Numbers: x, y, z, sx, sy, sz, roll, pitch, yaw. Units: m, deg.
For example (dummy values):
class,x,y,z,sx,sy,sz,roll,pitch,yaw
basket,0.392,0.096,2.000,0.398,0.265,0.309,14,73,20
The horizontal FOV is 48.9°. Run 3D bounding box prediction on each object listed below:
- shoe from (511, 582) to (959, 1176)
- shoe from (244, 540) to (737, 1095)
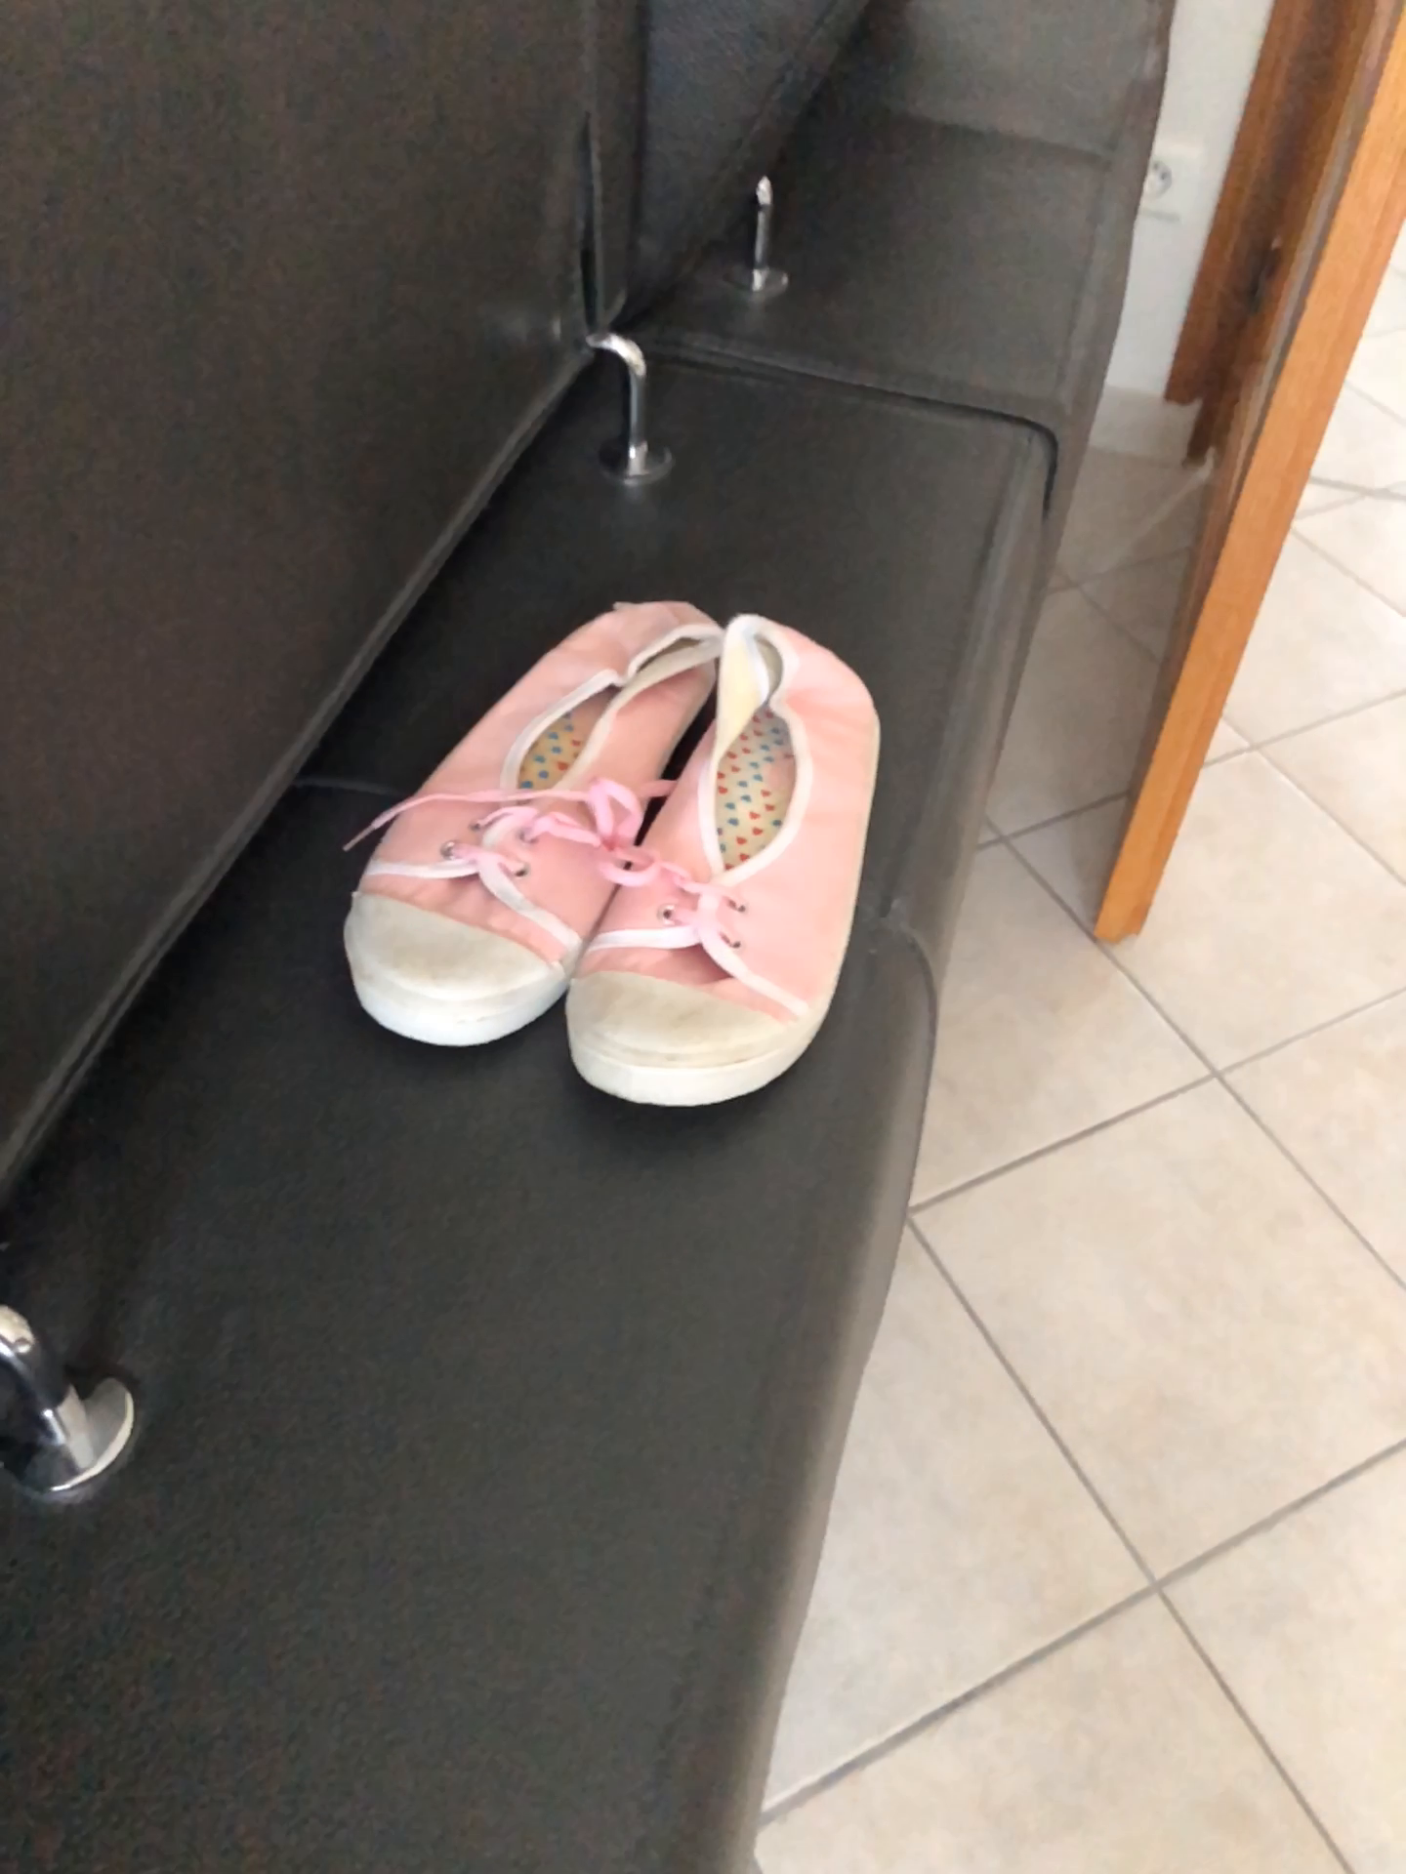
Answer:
class,x,y,z,sx,sy,sz,roll,pitch,yaw
shoe,0.021,-0.034,0.552,0.090,0.040,0.241,15,48,10
shoe,-0.066,-0.057,0.574,0.090,0.040,0.241,15,48,10
